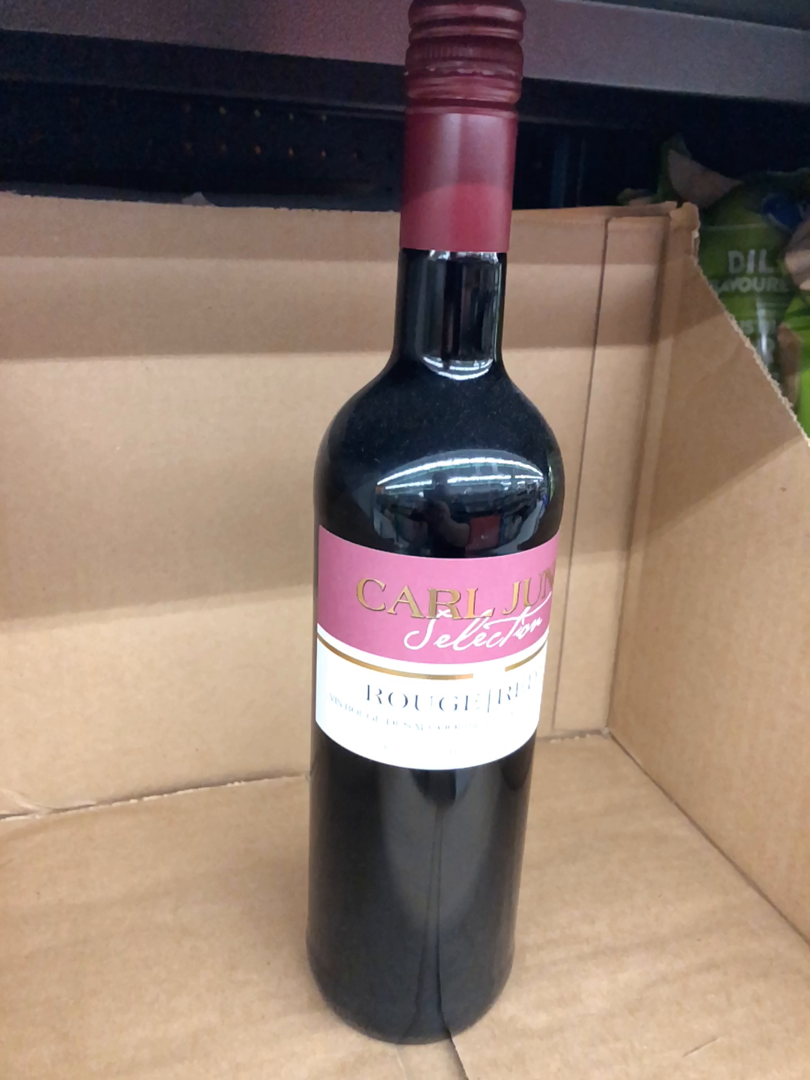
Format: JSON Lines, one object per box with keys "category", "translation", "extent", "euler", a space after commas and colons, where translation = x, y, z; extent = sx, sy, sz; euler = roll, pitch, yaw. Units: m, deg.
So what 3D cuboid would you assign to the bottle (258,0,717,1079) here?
{"category": "bottle", "translation": [0.006, 0.009, 0.270], "extent": [0.090, 0.308, 0.080], "euler": [-2, 21, -13]}
